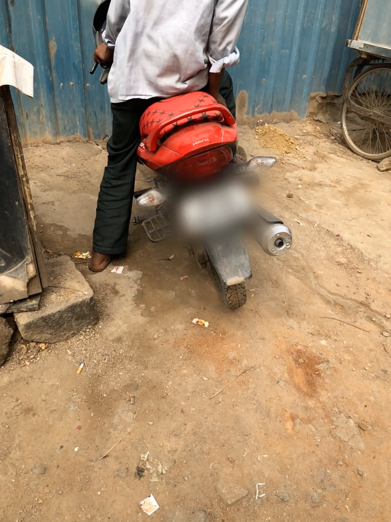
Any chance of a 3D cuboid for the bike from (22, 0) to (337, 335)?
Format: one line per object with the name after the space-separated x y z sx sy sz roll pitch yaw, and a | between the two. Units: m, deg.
-0.270 -0.779 1.892 0.736 1.129 1.638 -7 38 -17 | bike
